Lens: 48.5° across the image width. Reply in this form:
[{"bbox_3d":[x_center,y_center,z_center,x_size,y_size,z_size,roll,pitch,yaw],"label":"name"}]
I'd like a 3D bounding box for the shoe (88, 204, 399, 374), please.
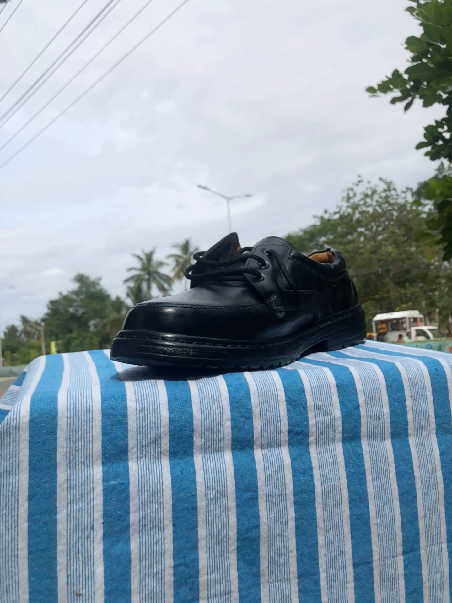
[{"bbox_3d":[0.037,-0.004,0.440,0.110,0.100,0.290,-4,-3,41],"label":"shoe"}]
